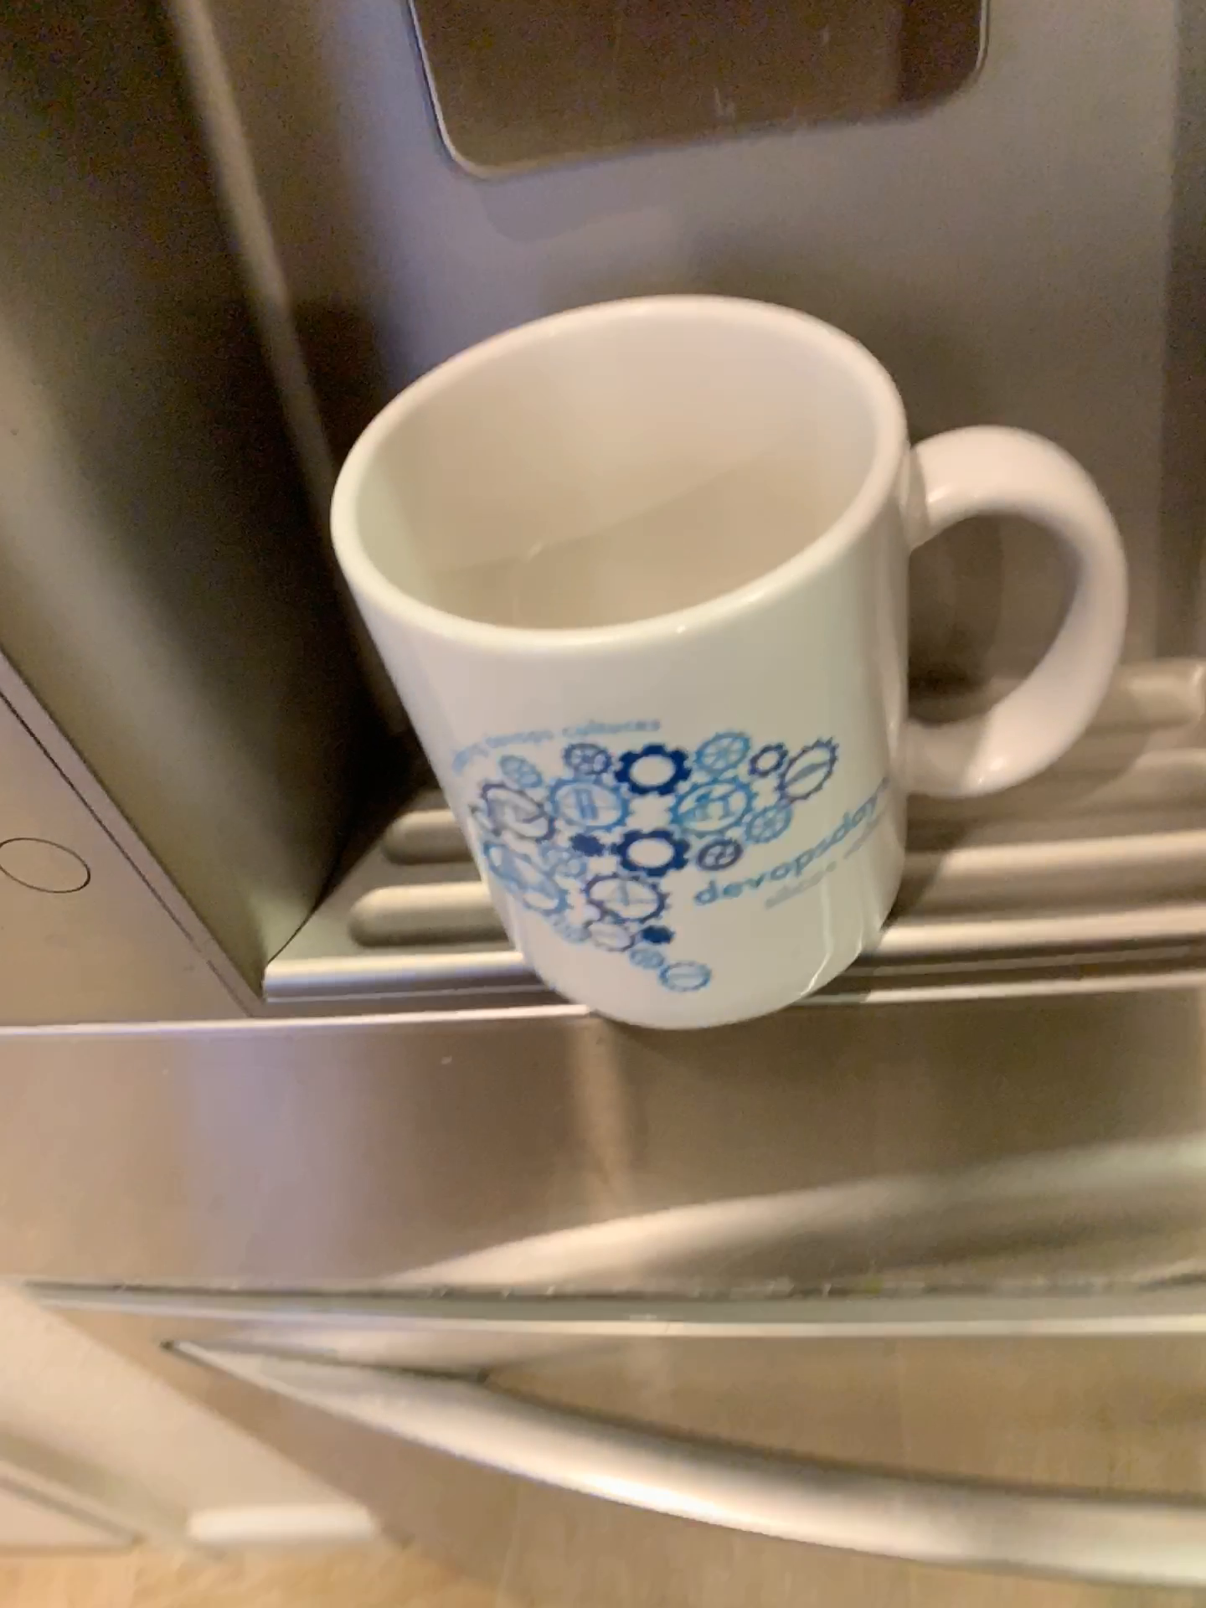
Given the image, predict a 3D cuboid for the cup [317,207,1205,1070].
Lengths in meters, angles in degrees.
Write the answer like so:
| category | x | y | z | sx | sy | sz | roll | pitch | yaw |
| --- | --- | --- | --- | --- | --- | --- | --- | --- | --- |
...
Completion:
| category | x | y | z | sx | sy | sz | roll | pitch | yaw |
| --- | --- | --- | --- | --- | --- | --- | --- | --- | --- |
| cup | 0.029 | -0.023 | 0.215 | 0.120 | 0.099 | 0.081 | -10 | 49 | 5 |
